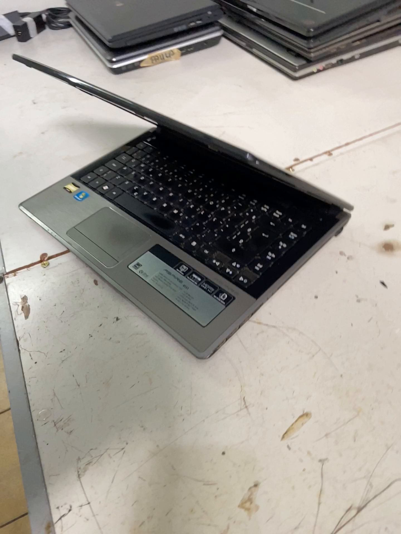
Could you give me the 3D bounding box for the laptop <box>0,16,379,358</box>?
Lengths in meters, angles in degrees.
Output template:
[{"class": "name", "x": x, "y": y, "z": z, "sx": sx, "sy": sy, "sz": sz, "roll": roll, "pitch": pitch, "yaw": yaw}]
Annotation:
[{"class": "laptop", "x": -0.045, "y": -0.117, "z": 0.435, "sx": 0.335, "sy": 0.157, "sz": 0.226, "roll": 33, "pitch": 60, "yaw": 32}]
